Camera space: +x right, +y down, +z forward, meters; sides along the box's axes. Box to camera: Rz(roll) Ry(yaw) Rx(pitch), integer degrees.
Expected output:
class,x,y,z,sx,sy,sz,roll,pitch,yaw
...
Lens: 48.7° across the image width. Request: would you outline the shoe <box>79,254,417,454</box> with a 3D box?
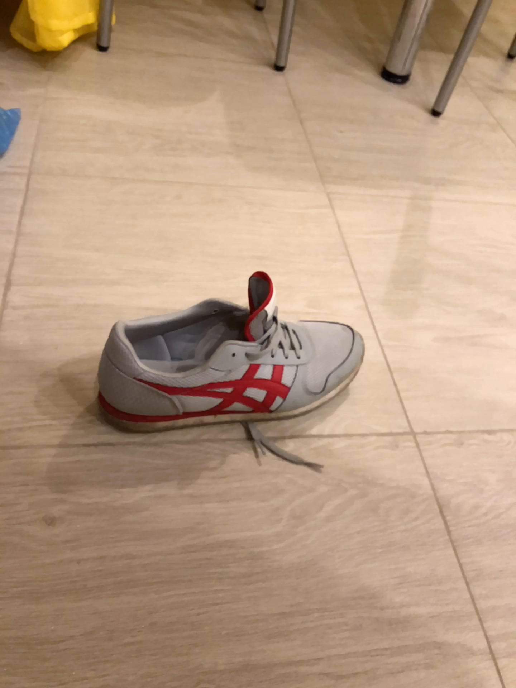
class,x,y,z,sx,sy,sz,roll,pitch,yaw
shoe,-0.016,0.005,0.575,0.298,0.129,0.111,-7,51,-18
